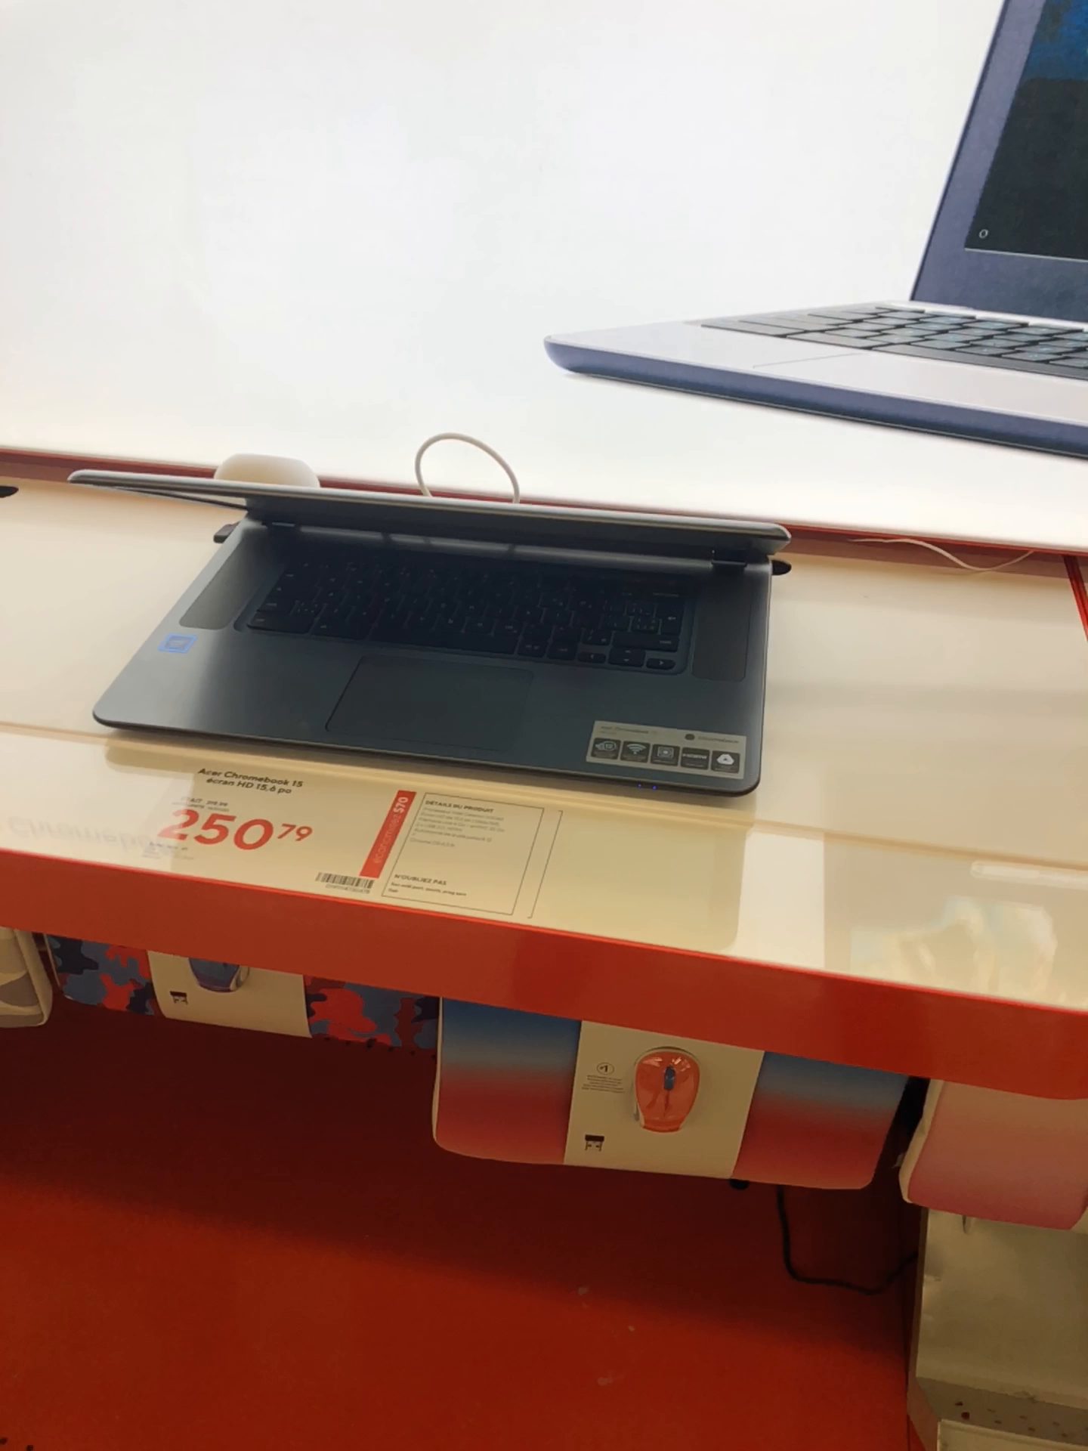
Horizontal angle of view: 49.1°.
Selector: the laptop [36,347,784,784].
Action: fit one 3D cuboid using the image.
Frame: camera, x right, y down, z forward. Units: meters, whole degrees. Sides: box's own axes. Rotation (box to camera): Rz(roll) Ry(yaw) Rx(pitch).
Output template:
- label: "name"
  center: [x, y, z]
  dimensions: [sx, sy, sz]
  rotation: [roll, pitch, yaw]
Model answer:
- label: "laptop"
  center: [-0.053, -0.109, 0.696]
  dimensions: [0.363, 0.122, 0.238]
  rotation: [6, 37, 8]
